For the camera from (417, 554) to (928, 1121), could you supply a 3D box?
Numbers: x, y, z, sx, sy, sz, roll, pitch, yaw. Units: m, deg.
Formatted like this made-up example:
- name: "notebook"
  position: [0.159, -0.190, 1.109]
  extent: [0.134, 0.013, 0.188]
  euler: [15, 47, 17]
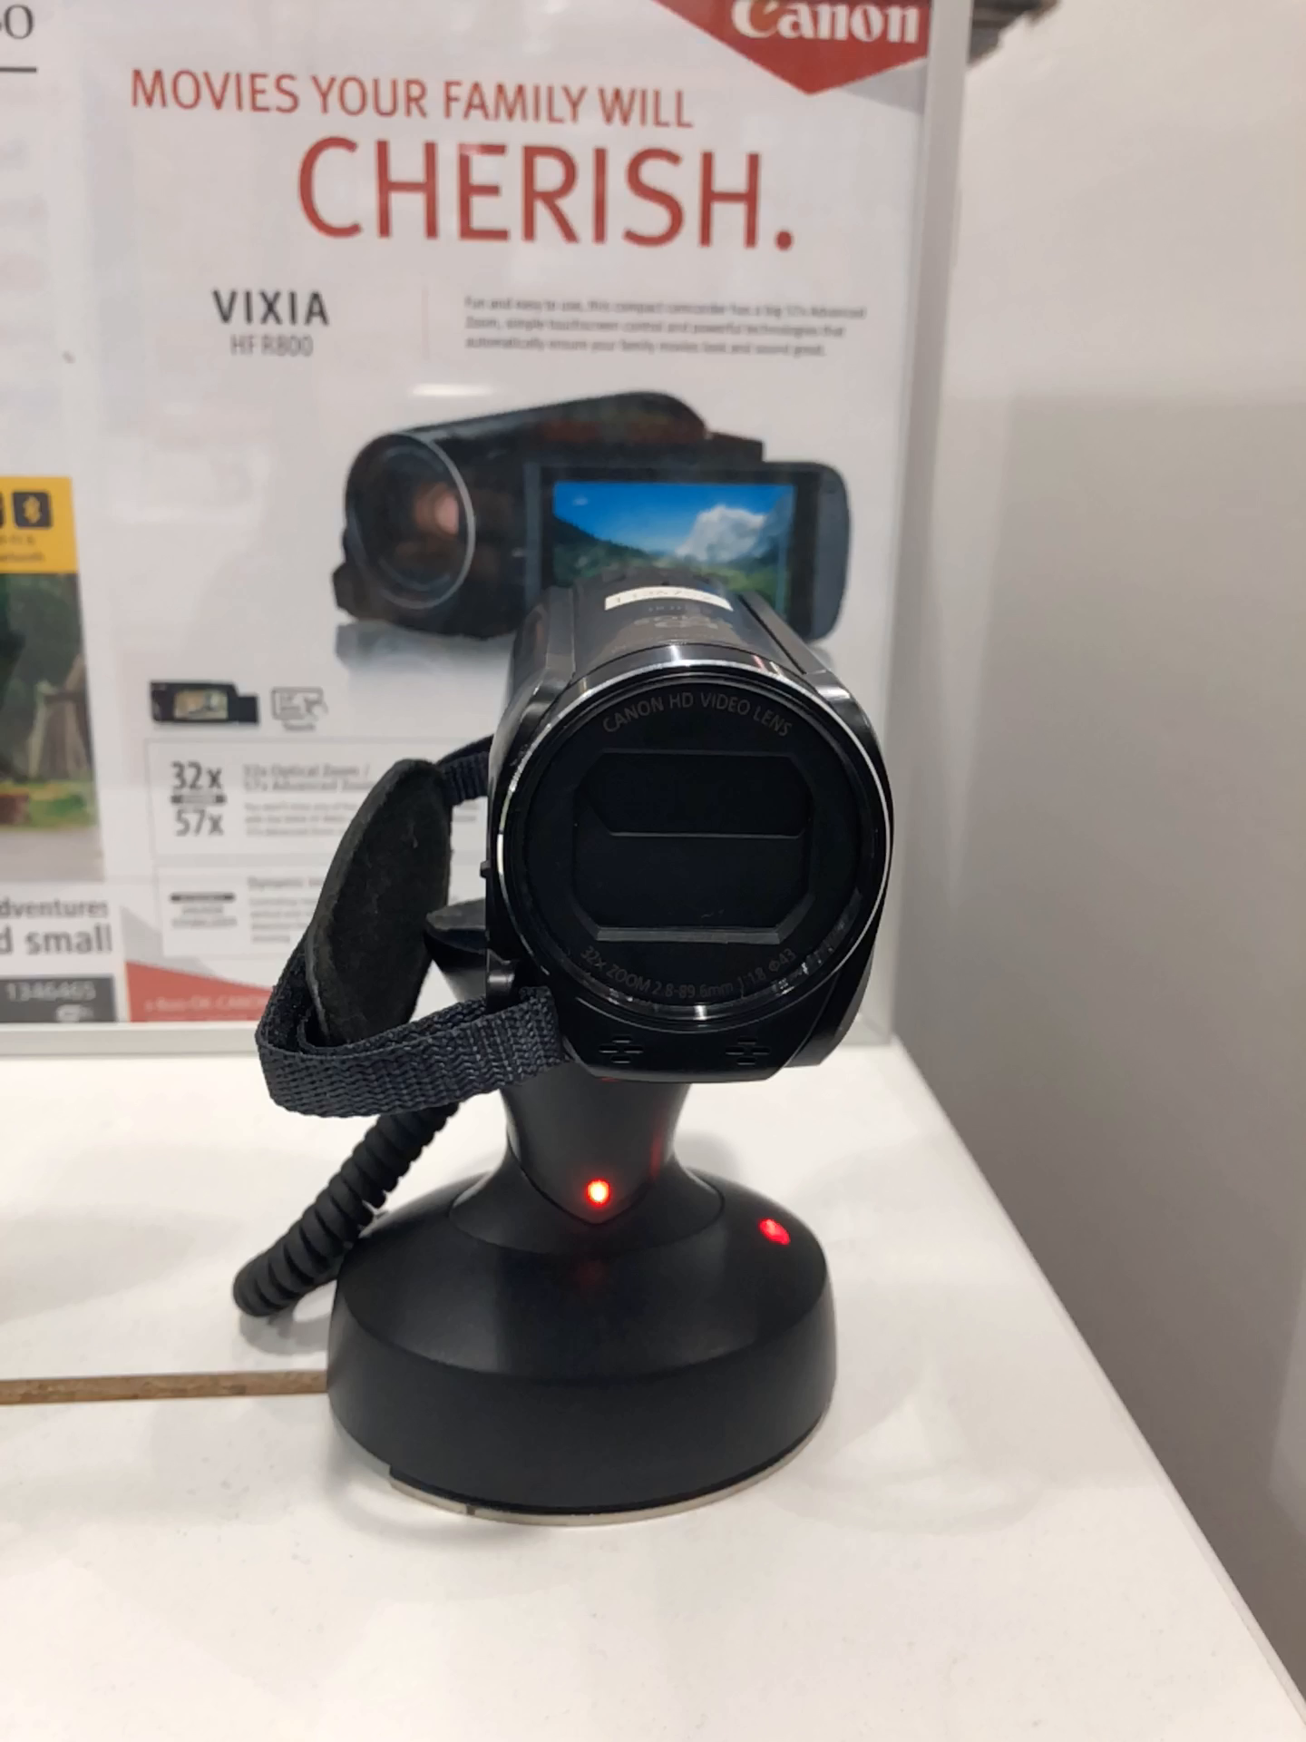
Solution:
- name: "camera"
  position: [-0.002, -0.016, 0.242]
  extent: [0.060, 0.060, 0.130]
  euler: [0, 17, -4]
